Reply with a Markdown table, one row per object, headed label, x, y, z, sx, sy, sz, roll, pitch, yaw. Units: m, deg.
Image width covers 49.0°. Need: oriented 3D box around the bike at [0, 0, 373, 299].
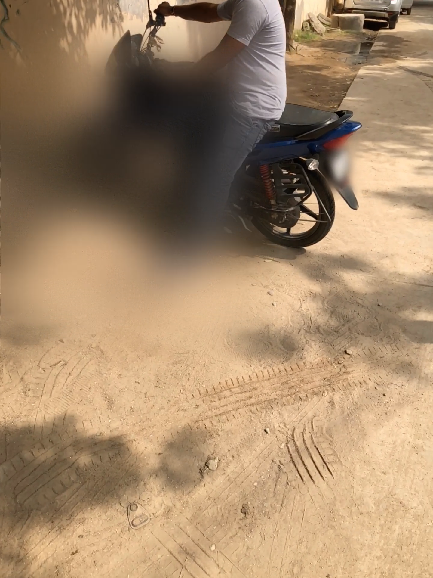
| label | x | y | z | sx | sy | sz | roll | pitch | yaw |
| --- | --- | --- | --- | --- | --- | --- | --- | --- | --- |
| bike | -0.212 | -0.925 | 2.722 | 1.783 | 1.241 | 0.744 | 19 | 37 | 24 |
